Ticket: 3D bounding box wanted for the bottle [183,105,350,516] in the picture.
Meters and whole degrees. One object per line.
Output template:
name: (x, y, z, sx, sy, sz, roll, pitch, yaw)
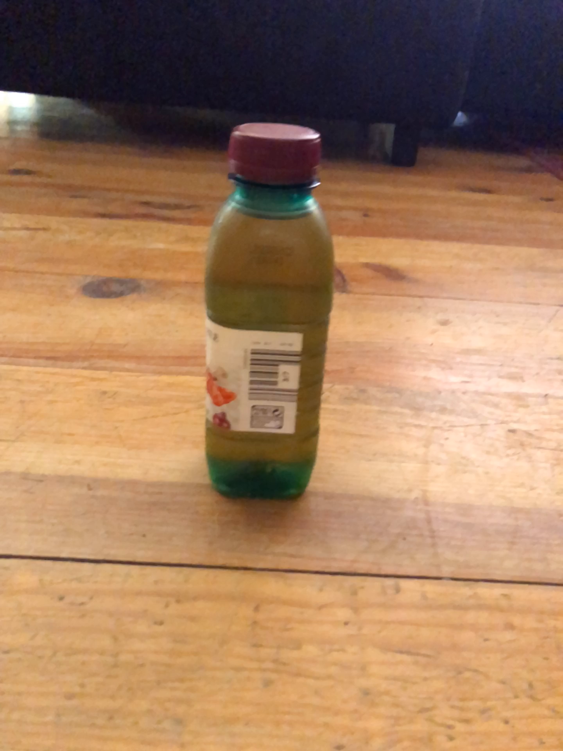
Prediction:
bottle: (-0.009, -0.022, 0.248, 0.050, 0.149, 0.060, 3, 30, -2)
